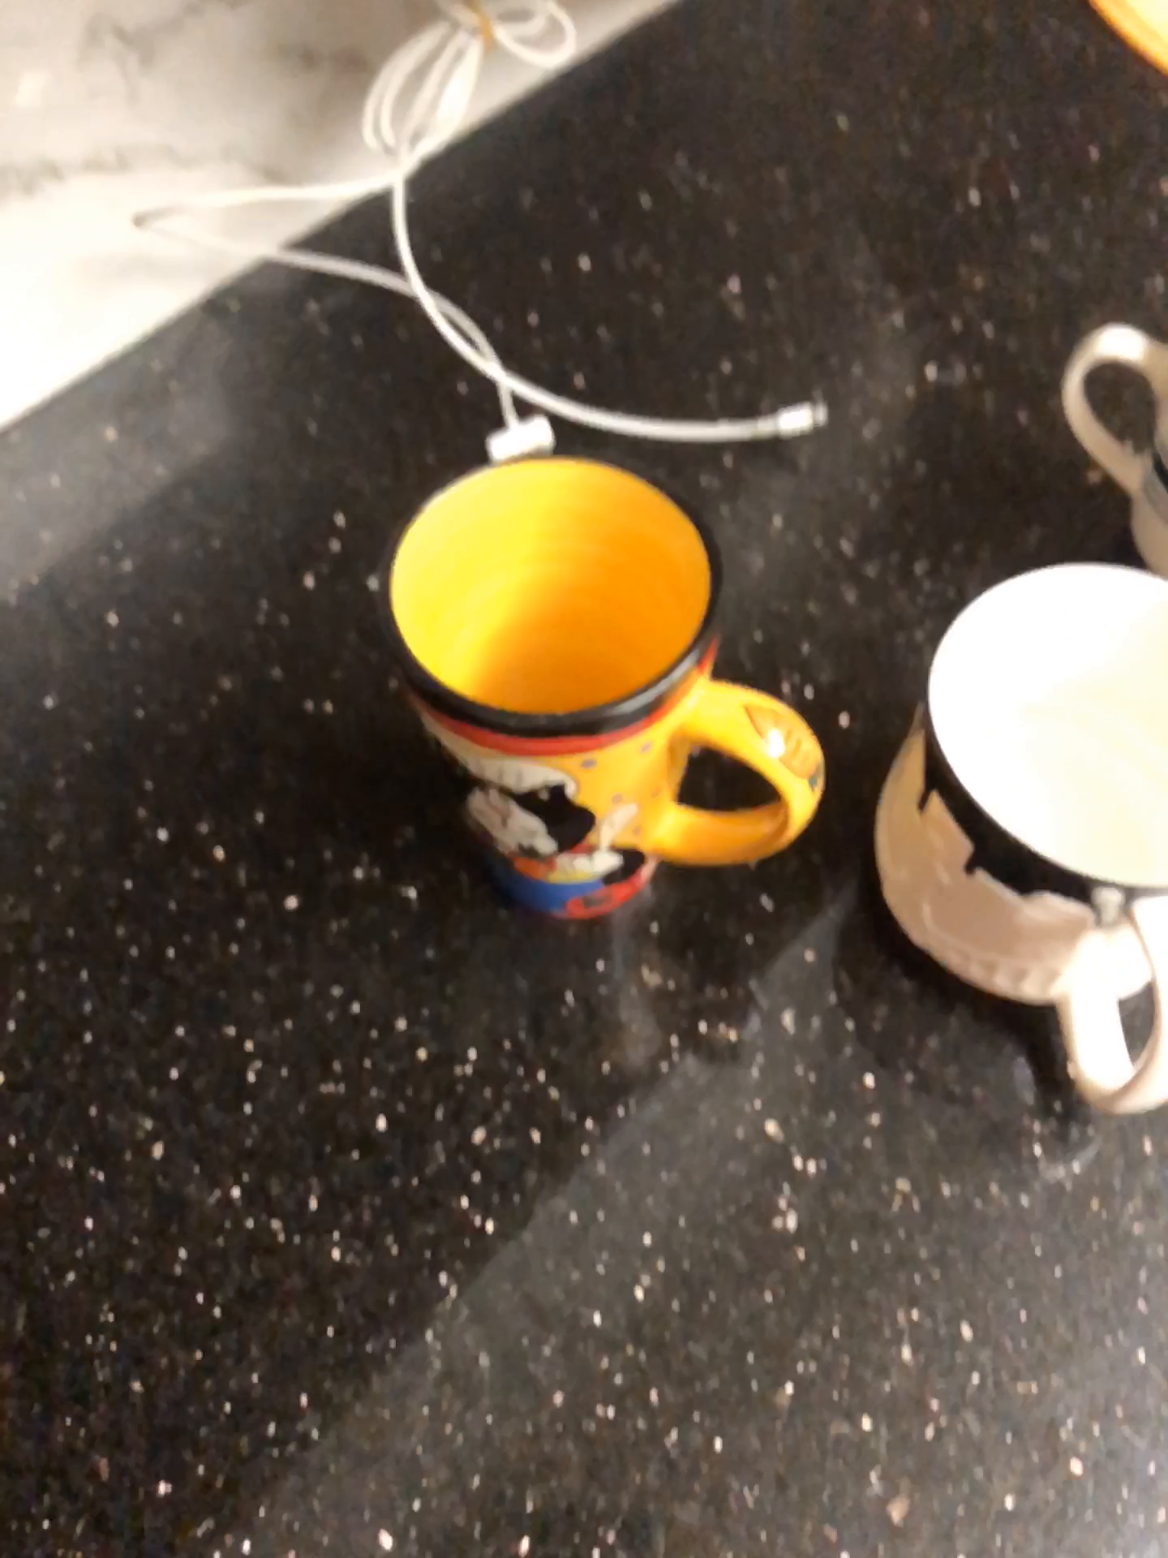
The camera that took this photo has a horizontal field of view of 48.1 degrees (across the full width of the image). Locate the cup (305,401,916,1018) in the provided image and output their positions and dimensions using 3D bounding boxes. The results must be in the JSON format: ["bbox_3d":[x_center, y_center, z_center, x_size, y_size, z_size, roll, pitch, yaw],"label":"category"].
[{"bbox_3d":[0.010,-0.016,0.388,0.130,0.130,0.090,21,63,14],"label":"cup"}]

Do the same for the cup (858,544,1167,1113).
[{"bbox_3d":[0.153,0.017,0.396,0.110,0.100,0.141,-1,60,2],"label":"cup"}]

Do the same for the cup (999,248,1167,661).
[{"bbox_3d":[0.235,-0.118,0.475,0.140,0.080,0.100,10,61,8],"label":"cup"}]
